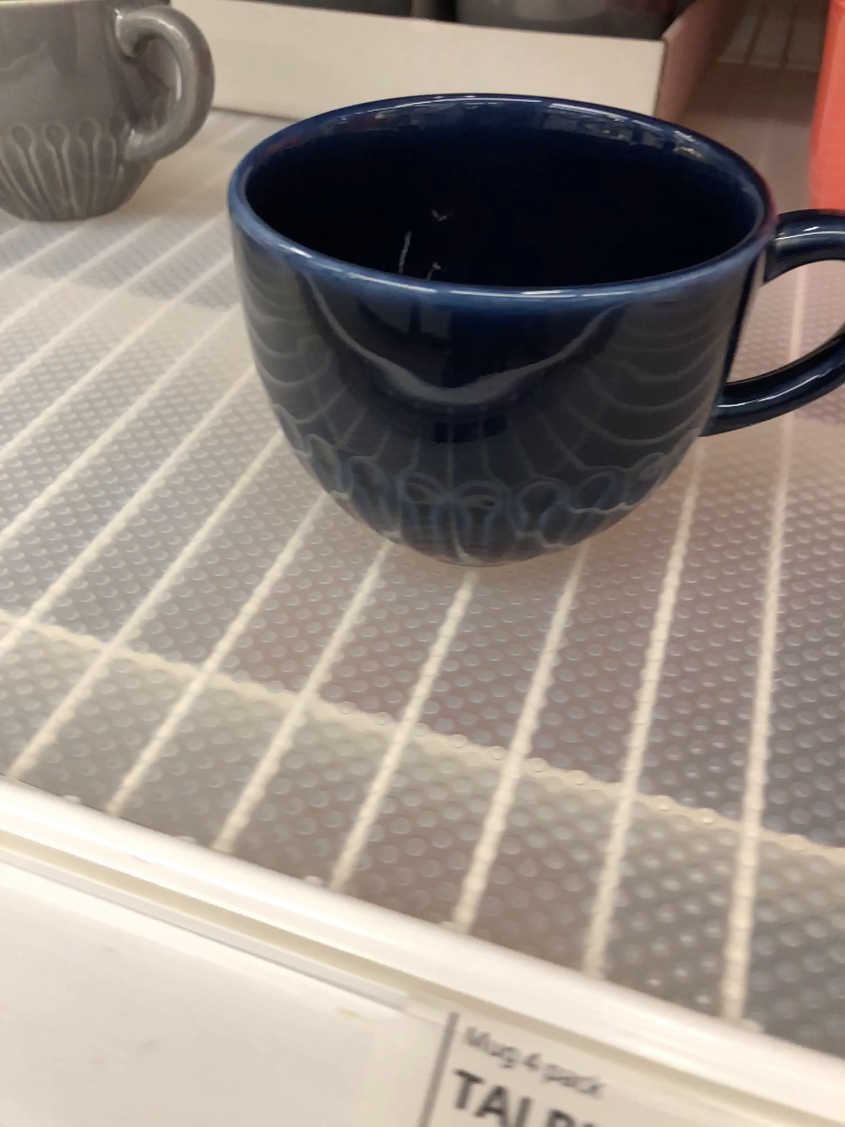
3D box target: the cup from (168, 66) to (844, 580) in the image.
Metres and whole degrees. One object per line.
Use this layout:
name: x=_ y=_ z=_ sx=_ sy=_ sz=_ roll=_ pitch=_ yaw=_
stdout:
cup: x=0.027 y=-0.056 z=0.199 sx=0.130 sy=0.060 sz=0.110 roll=0 pitch=41 yaw=-1
